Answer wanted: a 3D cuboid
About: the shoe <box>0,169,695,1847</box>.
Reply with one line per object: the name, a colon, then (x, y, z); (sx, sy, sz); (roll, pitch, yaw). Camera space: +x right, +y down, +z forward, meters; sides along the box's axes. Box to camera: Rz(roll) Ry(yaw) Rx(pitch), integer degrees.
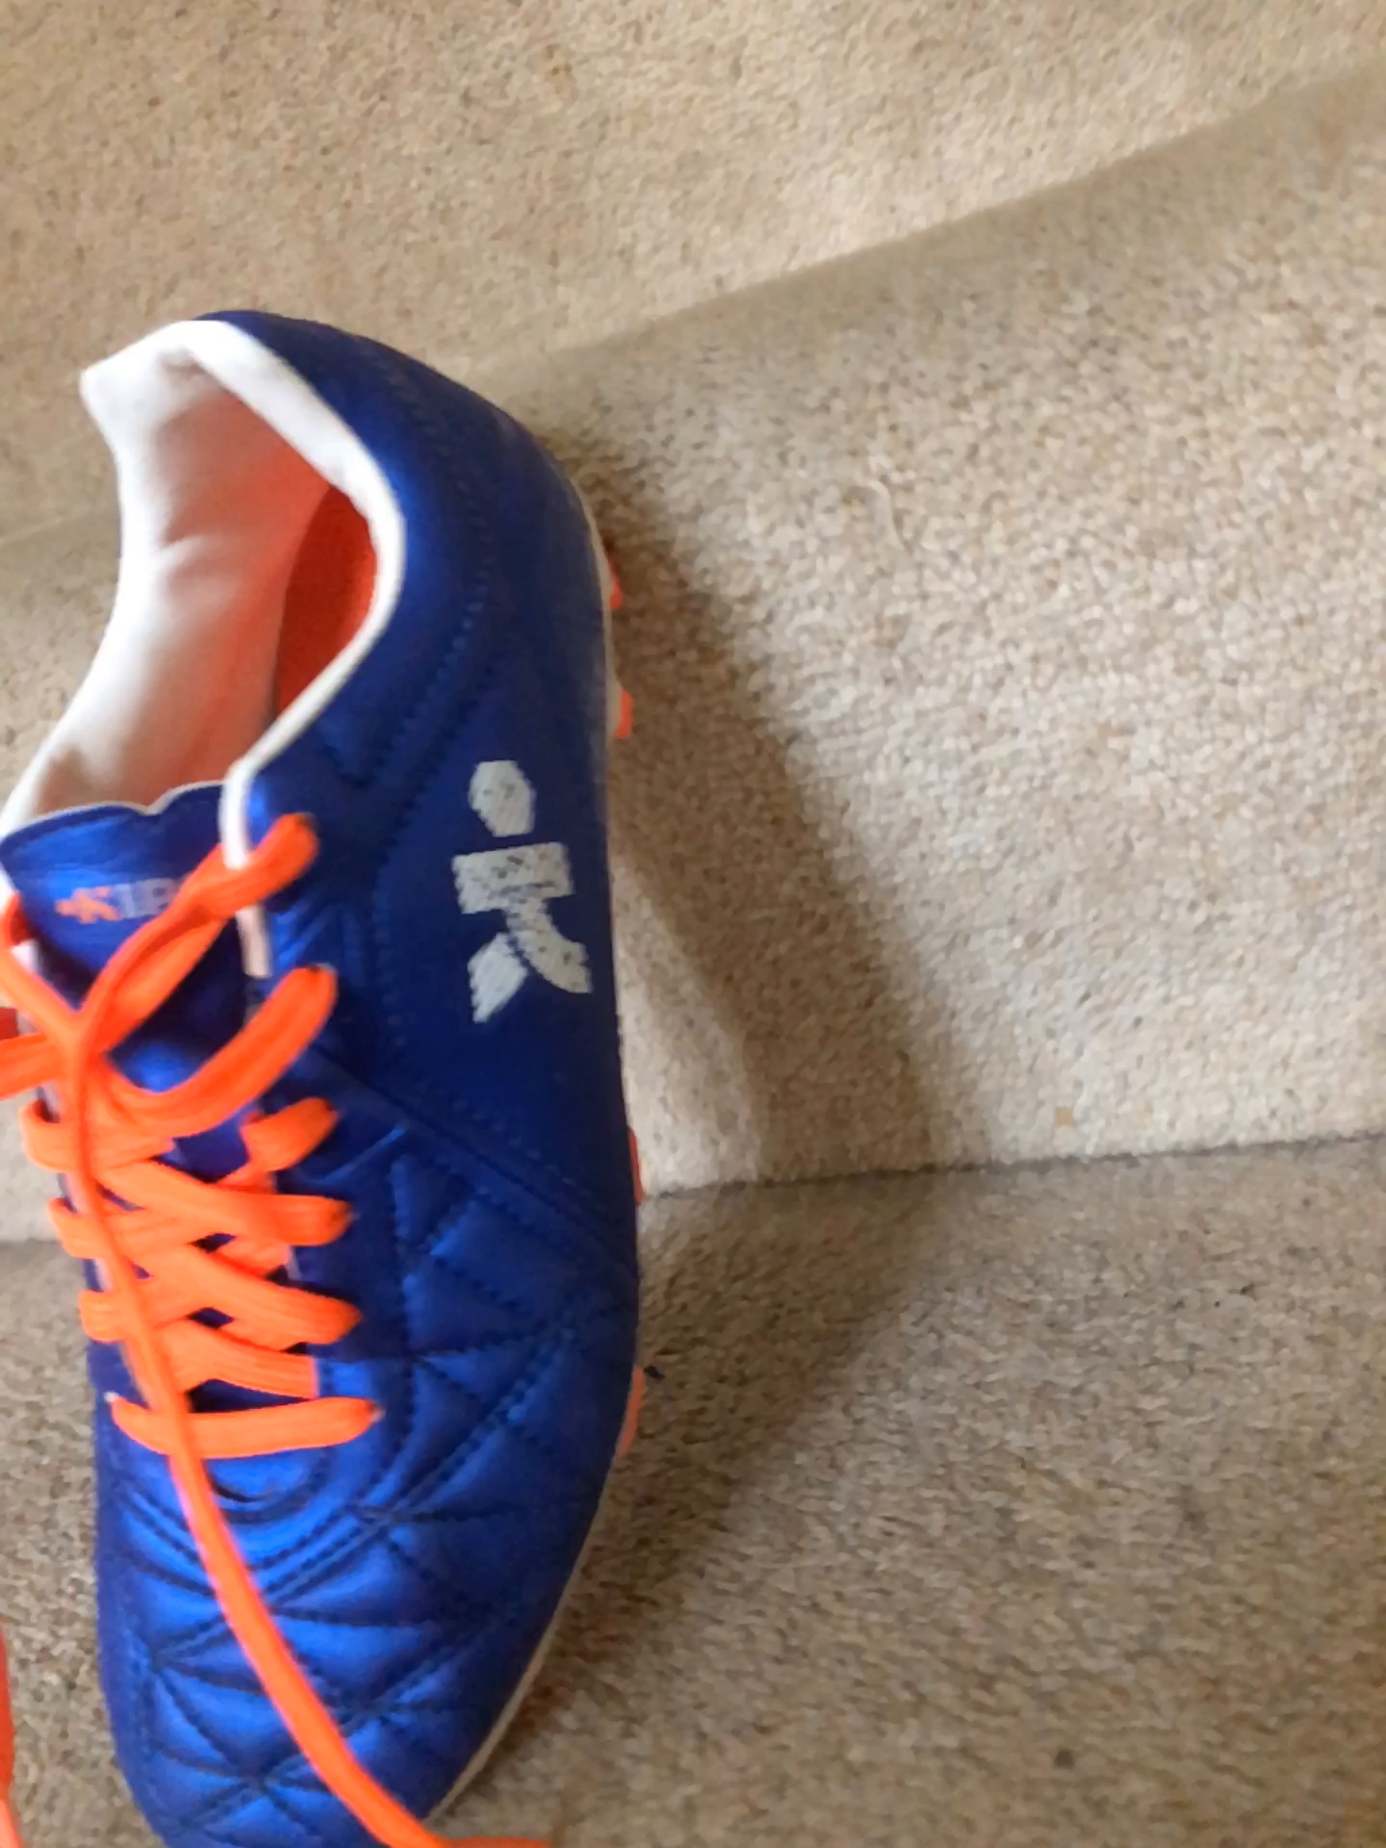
shoe: (-0.056, 0.016, 0.235); (0.070, 0.211, 0.100); (-4, -15, 25)
